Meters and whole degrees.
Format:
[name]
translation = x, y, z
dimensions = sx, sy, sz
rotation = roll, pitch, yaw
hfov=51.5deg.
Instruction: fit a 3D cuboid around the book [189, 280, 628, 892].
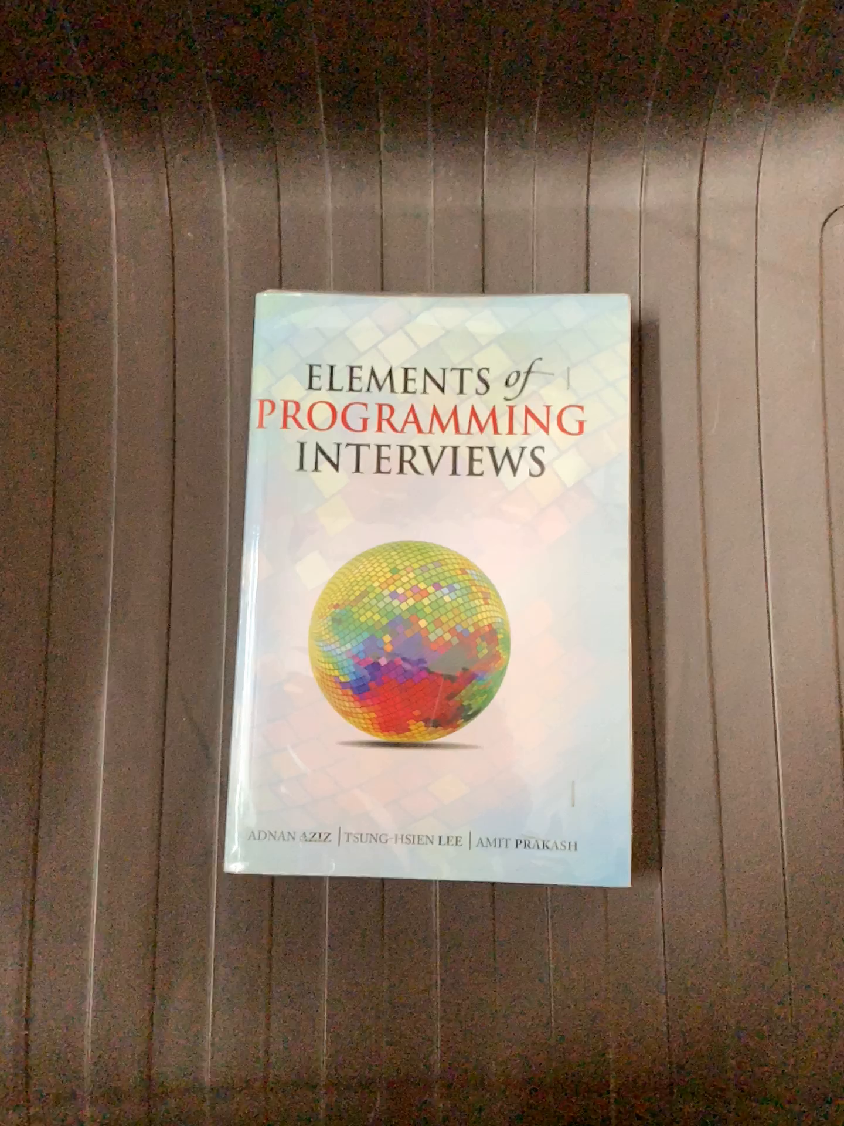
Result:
[book]
translation = -0.001, 0.006, 0.359
dimensions = 0.160, 0.050, 0.230
rotation = 2, 83, 1
